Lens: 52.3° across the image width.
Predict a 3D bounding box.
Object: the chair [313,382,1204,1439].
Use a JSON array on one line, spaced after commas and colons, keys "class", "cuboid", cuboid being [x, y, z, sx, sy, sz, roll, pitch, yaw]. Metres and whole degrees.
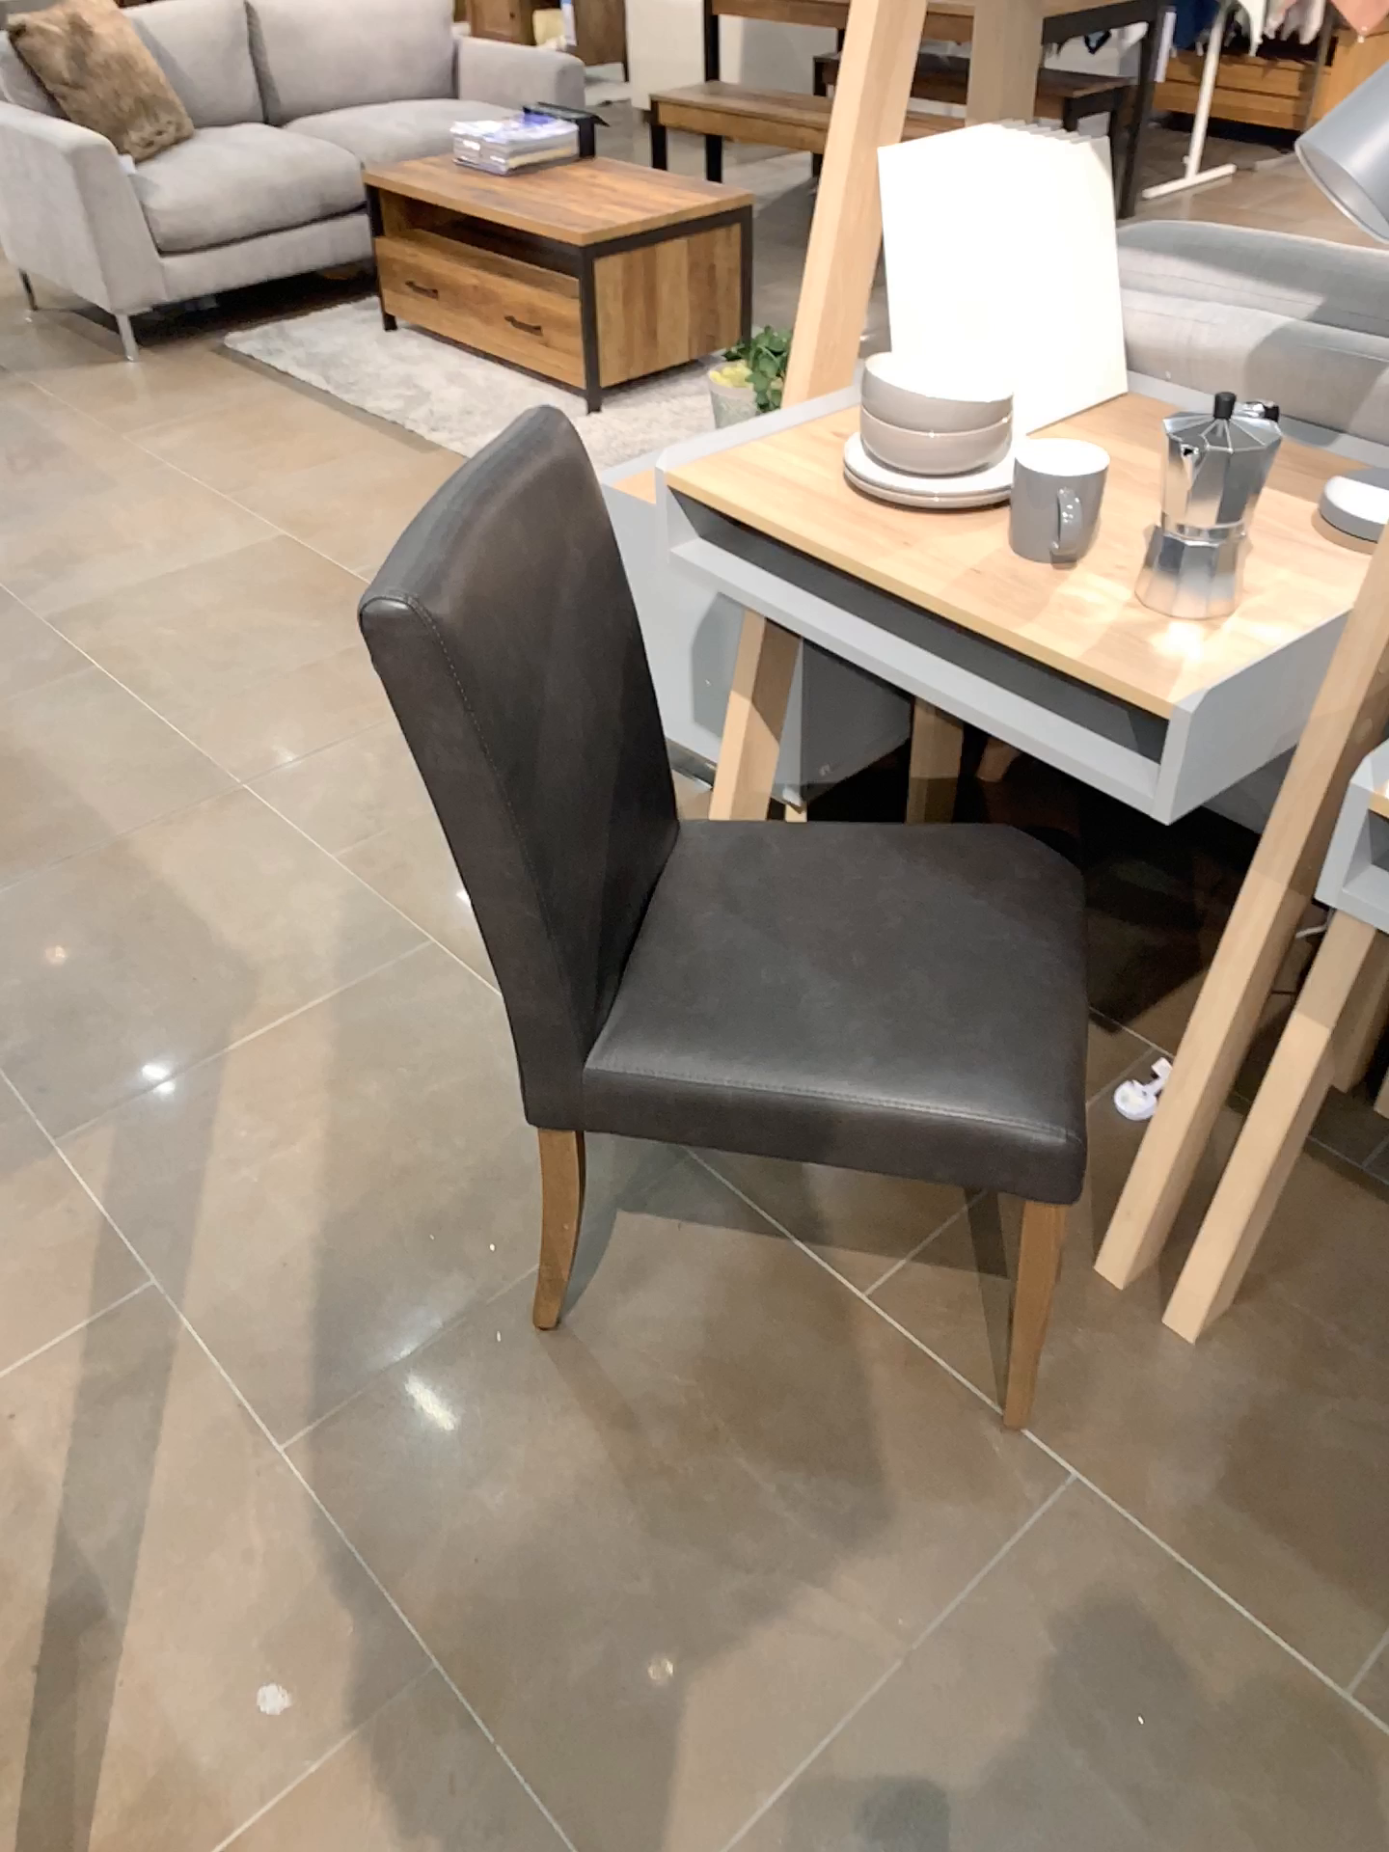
[{"class": "chair", "cuboid": [0.085, 0.002, 1.399, 0.605, 0.886, 0.461, 6, 39, 10]}]
